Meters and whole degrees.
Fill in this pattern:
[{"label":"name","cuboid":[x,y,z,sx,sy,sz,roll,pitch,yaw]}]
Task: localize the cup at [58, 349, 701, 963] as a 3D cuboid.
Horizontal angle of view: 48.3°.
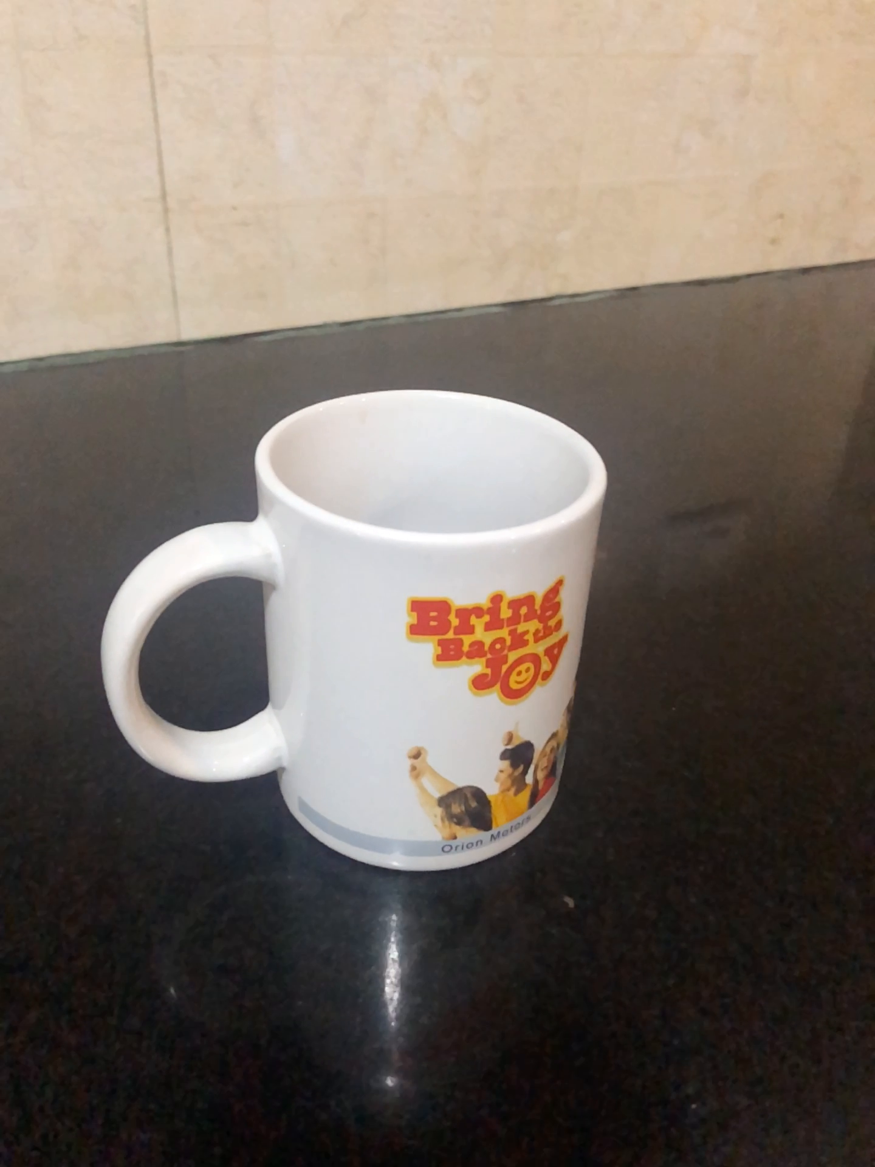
[{"label":"cup","cuboid":[-0.018,0.010,0.239,0.120,0.099,0.080,-11,34,-20]}]
